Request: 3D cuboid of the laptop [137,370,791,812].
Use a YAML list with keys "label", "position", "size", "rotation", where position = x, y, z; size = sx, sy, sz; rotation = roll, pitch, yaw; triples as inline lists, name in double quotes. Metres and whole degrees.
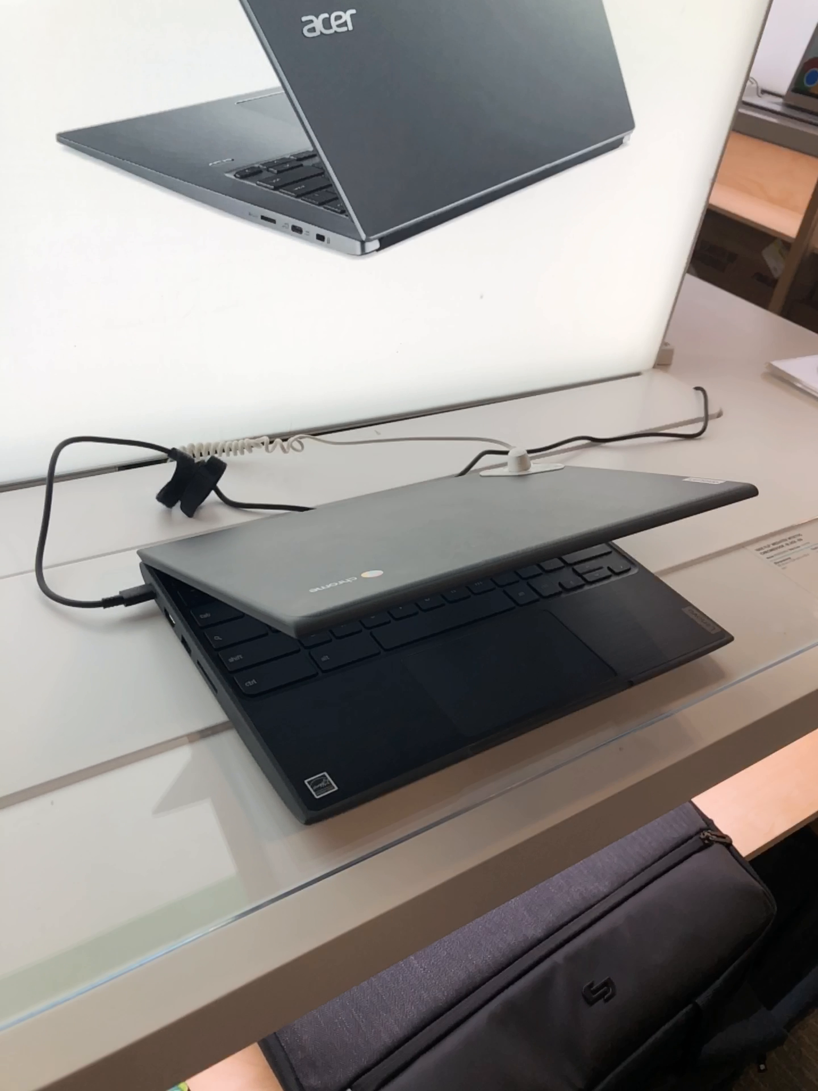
- label: "laptop"
  position: [0.026, -0.001, 0.482]
  size: [0.277, 0.072, 0.186]
  rotation: [-15, 44, -29]
